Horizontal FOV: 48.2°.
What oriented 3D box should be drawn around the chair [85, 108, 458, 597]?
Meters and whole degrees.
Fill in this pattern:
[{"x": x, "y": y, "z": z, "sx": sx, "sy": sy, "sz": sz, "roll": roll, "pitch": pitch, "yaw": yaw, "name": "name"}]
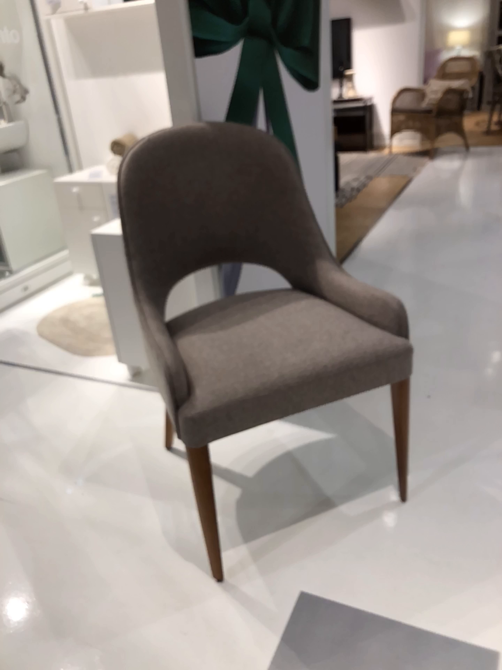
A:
[{"x": 0.029, "y": -0.025, "z": 1.360, "sx": 0.571, "sy": 0.894, "sz": 0.613, "roll": -15, "pitch": 27, "yaw": -19, "name": "chair"}]
